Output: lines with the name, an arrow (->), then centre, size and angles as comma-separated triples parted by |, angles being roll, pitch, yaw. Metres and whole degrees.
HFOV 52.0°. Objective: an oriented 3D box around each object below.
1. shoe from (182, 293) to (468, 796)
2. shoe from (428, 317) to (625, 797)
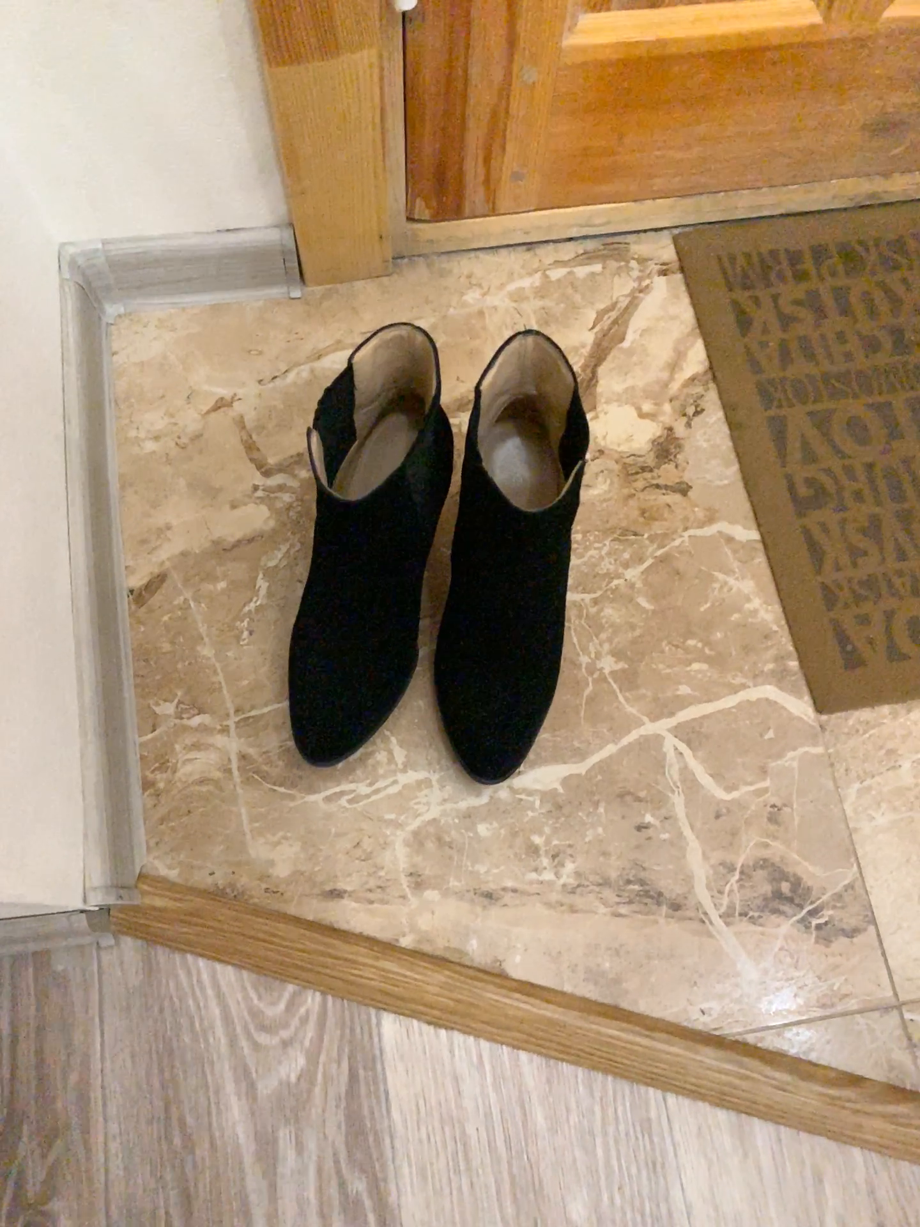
shoe -> -0.063, -0.024, 0.541 | 0.086, 0.199, 0.215 | 11, 71, 2
shoe -> 0.031, -0.018, 0.548 | 0.086, 0.199, 0.215 | 3, 71, -1
